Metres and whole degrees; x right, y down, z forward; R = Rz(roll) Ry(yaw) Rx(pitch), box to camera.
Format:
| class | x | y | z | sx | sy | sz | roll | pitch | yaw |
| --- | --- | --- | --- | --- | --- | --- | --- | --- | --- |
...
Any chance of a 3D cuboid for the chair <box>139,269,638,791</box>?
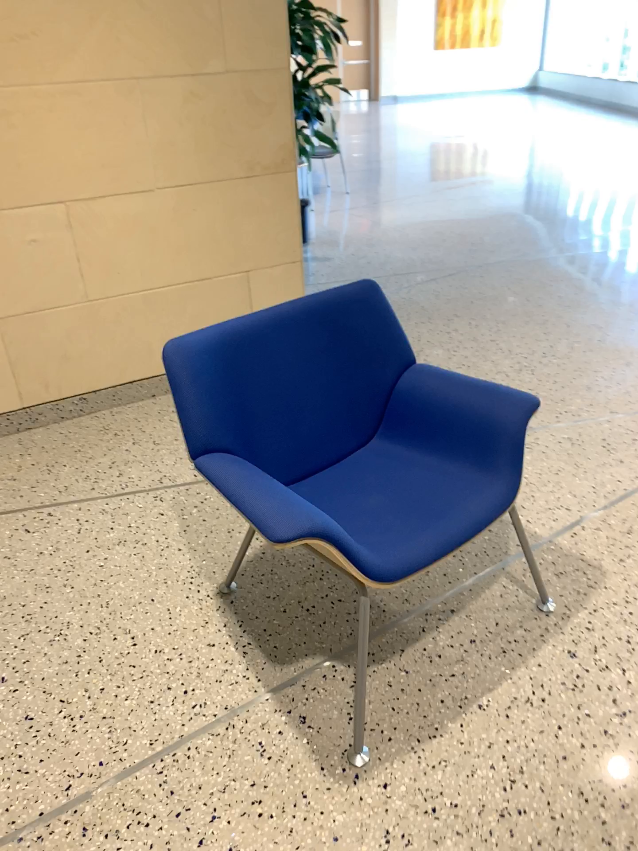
| class | x | y | z | sx | sy | sz | roll | pitch | yaw |
| --- | --- | --- | --- | --- | --- | --- | --- | --- | --- |
| chair | 0.152 | 0.138 | 1.593 | 0.781 | 0.728 | 0.761 | -24 | 35 | -31 |
